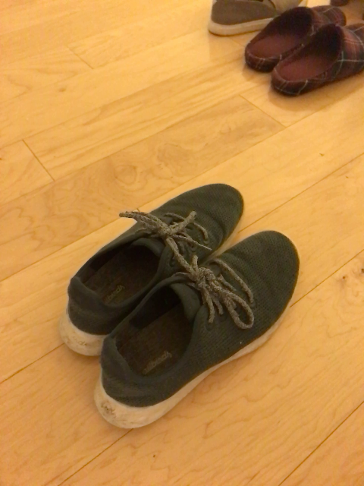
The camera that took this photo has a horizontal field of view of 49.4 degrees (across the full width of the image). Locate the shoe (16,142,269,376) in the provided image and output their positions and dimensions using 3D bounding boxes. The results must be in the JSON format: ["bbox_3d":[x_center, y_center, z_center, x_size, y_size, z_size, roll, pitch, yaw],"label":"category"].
[{"bbox_3d":[-0.032,0.006,0.505,0.100,0.099,0.311,37,61,25],"label":"shoe"}]

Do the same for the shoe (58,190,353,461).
[{"bbox_3d":[0.039,0.077,0.448,0.321,0.099,0.100,-34,60,-23],"label":"shoe"}]
